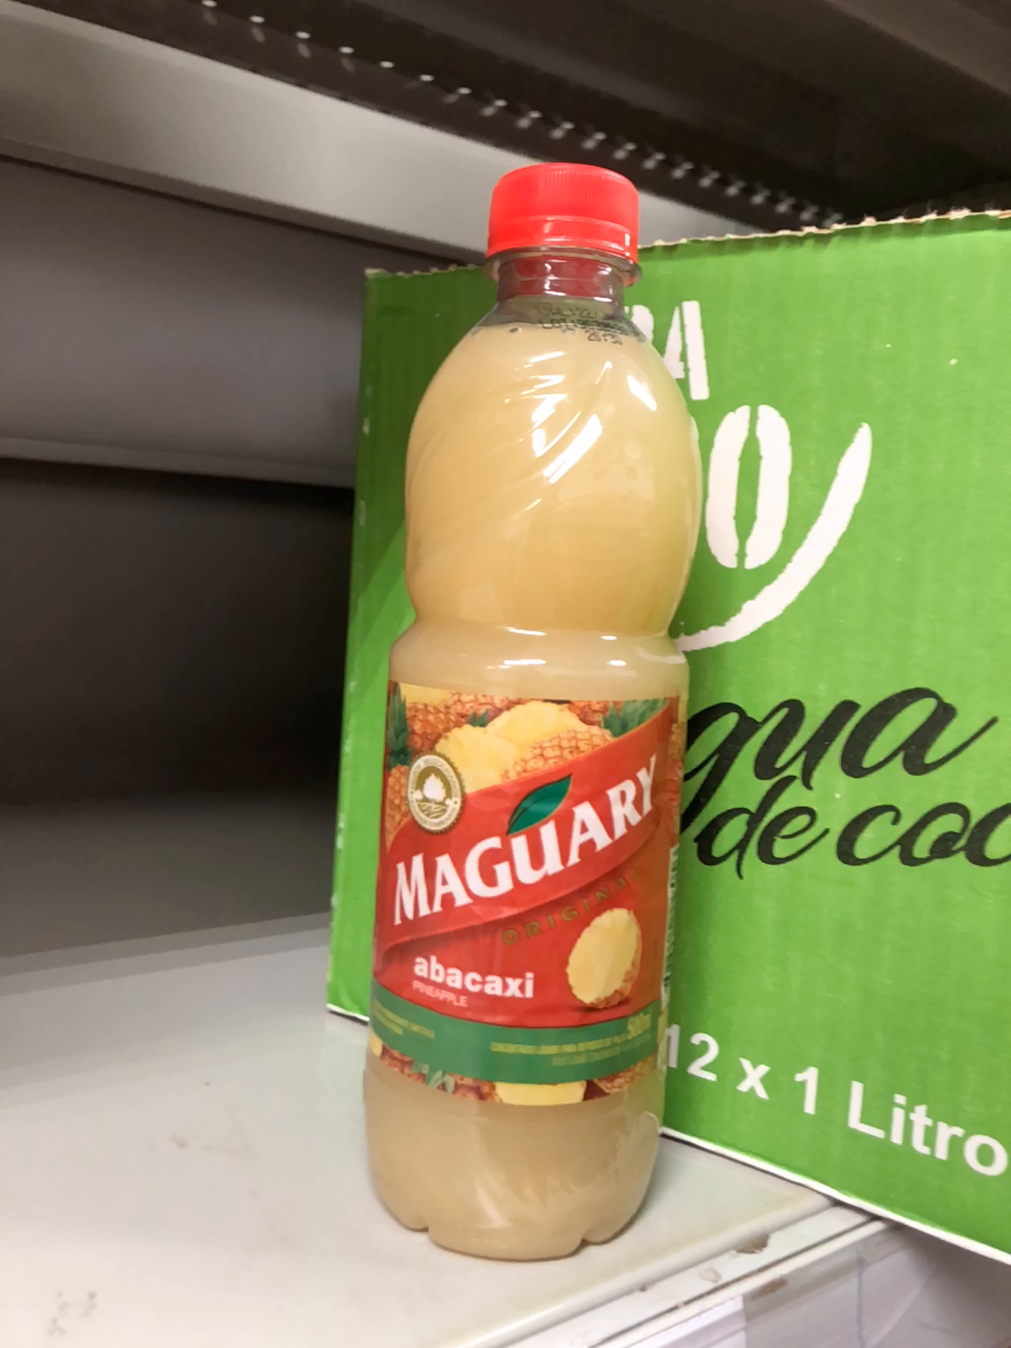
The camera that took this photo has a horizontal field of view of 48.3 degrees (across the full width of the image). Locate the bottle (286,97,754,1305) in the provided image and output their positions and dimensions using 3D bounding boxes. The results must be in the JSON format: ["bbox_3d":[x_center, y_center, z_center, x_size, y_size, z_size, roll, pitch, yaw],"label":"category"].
[{"bbox_3d":[0.003,0.005,0.228,0.070,0.210,0.060,4,6,7],"label":"bottle"}]
